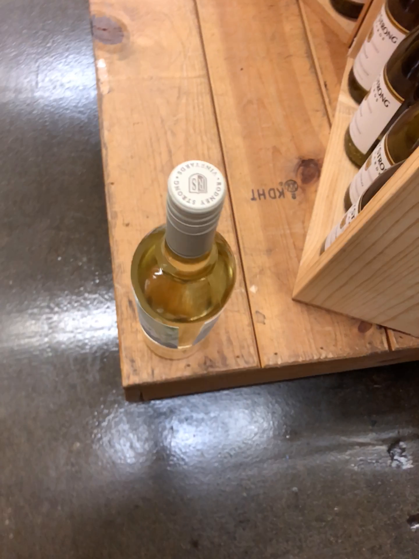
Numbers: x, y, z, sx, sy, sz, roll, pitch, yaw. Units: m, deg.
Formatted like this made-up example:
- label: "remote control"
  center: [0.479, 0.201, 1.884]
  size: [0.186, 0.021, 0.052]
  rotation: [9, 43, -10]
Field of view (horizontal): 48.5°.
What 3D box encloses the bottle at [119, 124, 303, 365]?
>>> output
- label: "bottle"
  center: [-0.014, 0.004, 0.350]
  size: [0.079, 0.284, 0.073]
  rotation: [2, 72, -5]
